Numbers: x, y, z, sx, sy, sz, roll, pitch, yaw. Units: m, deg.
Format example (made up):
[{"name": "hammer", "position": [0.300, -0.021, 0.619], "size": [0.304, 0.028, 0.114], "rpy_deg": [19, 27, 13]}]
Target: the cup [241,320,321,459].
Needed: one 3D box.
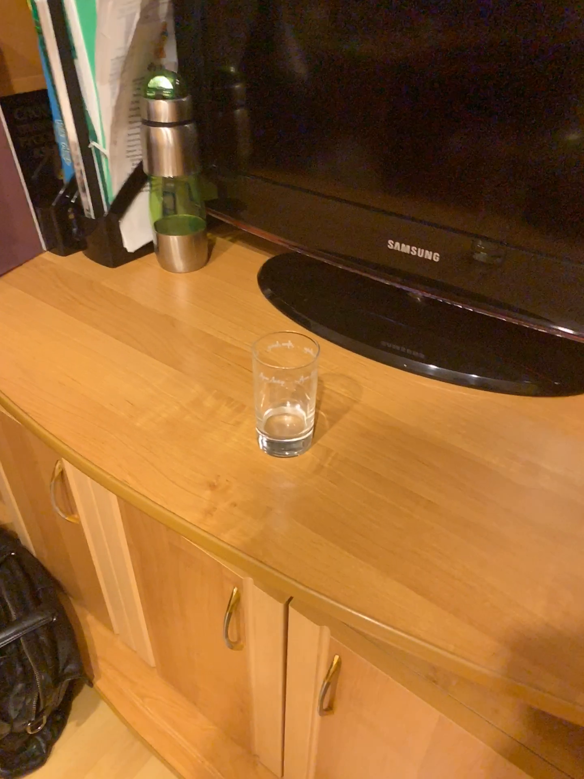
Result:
[{"name": "cup", "position": [-0.009, 0.000, 0.500], "size": [0.060, 0.099, 0.061], "rpy_deg": [0, 37, 0]}]
